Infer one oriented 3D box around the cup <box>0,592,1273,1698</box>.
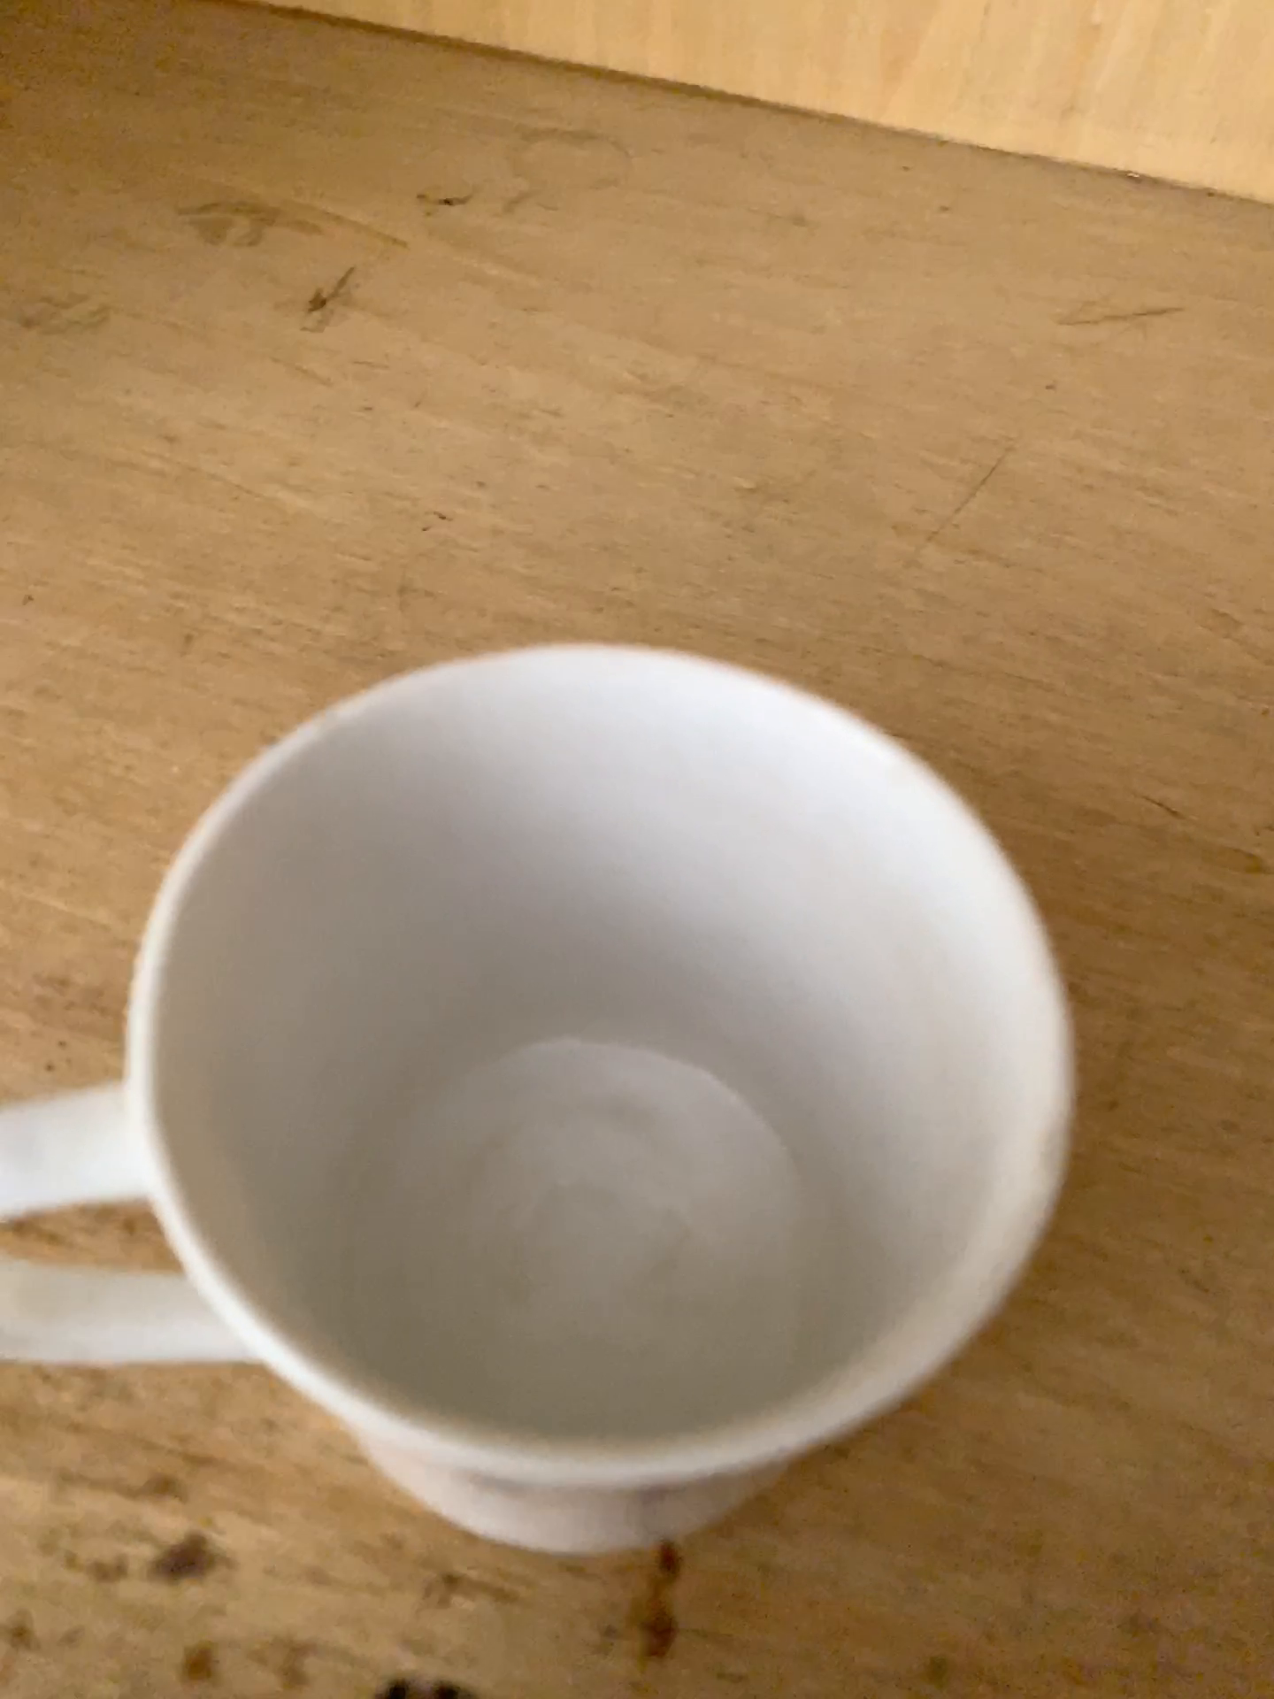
[{"bbox_3d":[-0.011,0.033,0.113,0.090,0.070,0.070,-9,53,-11],"label":"cup"}]
